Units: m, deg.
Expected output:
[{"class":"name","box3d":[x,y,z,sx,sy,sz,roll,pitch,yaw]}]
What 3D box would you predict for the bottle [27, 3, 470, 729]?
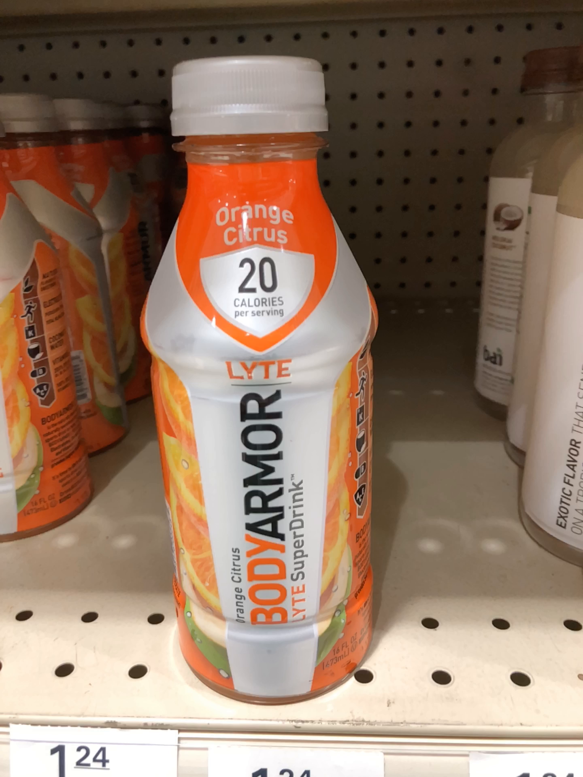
[{"class":"bottle","box3d":[-0.005,-0.001,0.189,0.080,0.180,0.080,-2,23,1]}]
